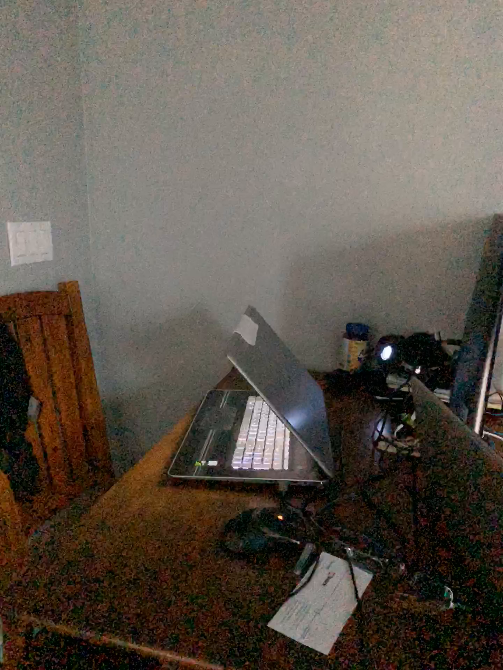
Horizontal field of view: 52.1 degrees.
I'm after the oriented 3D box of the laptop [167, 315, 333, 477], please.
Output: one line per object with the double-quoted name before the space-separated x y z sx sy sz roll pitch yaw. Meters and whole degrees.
"laptop" 0.010 0.090 1.001 0.256 0.187 0.394 1 13 6
